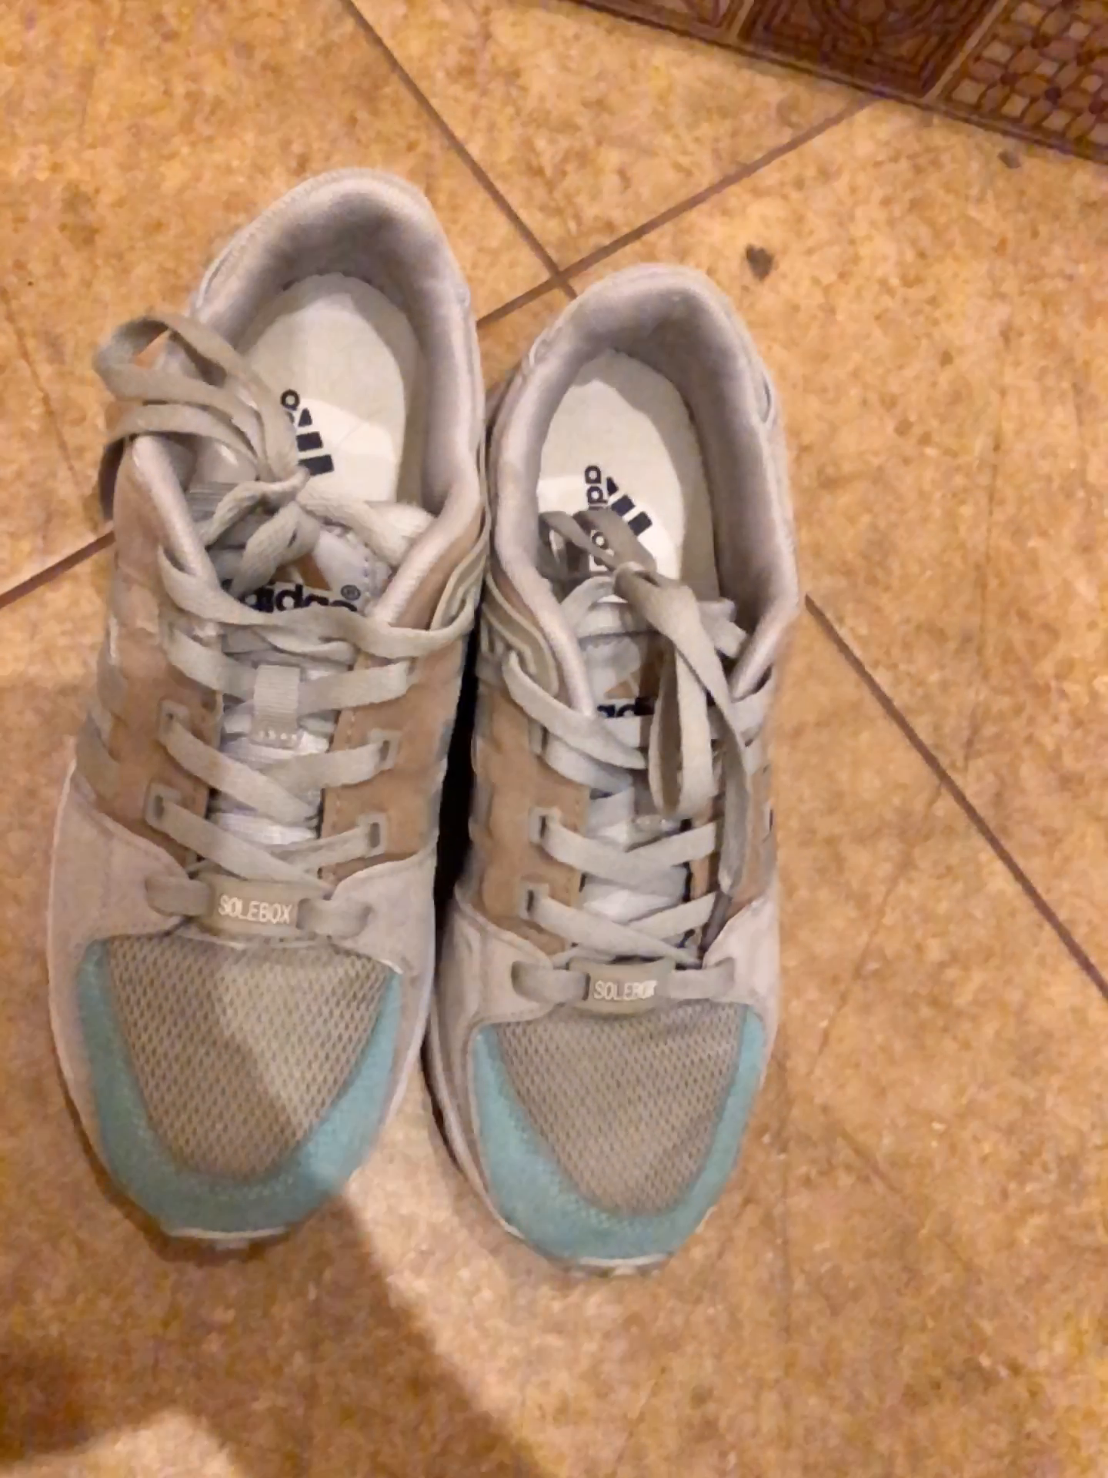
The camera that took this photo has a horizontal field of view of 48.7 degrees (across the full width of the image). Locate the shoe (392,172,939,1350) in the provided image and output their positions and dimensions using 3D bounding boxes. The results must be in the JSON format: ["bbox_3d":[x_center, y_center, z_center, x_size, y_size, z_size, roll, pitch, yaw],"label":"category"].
[{"bbox_3d":[0.020,0.002,0.316,0.108,0.080,0.260,3,77,-15],"label":"shoe"}]

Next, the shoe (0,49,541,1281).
[{"bbox_3d":[-0.071,-0.017,0.299,0.110,0.080,0.260,6,76,-14],"label":"shoe"}]
